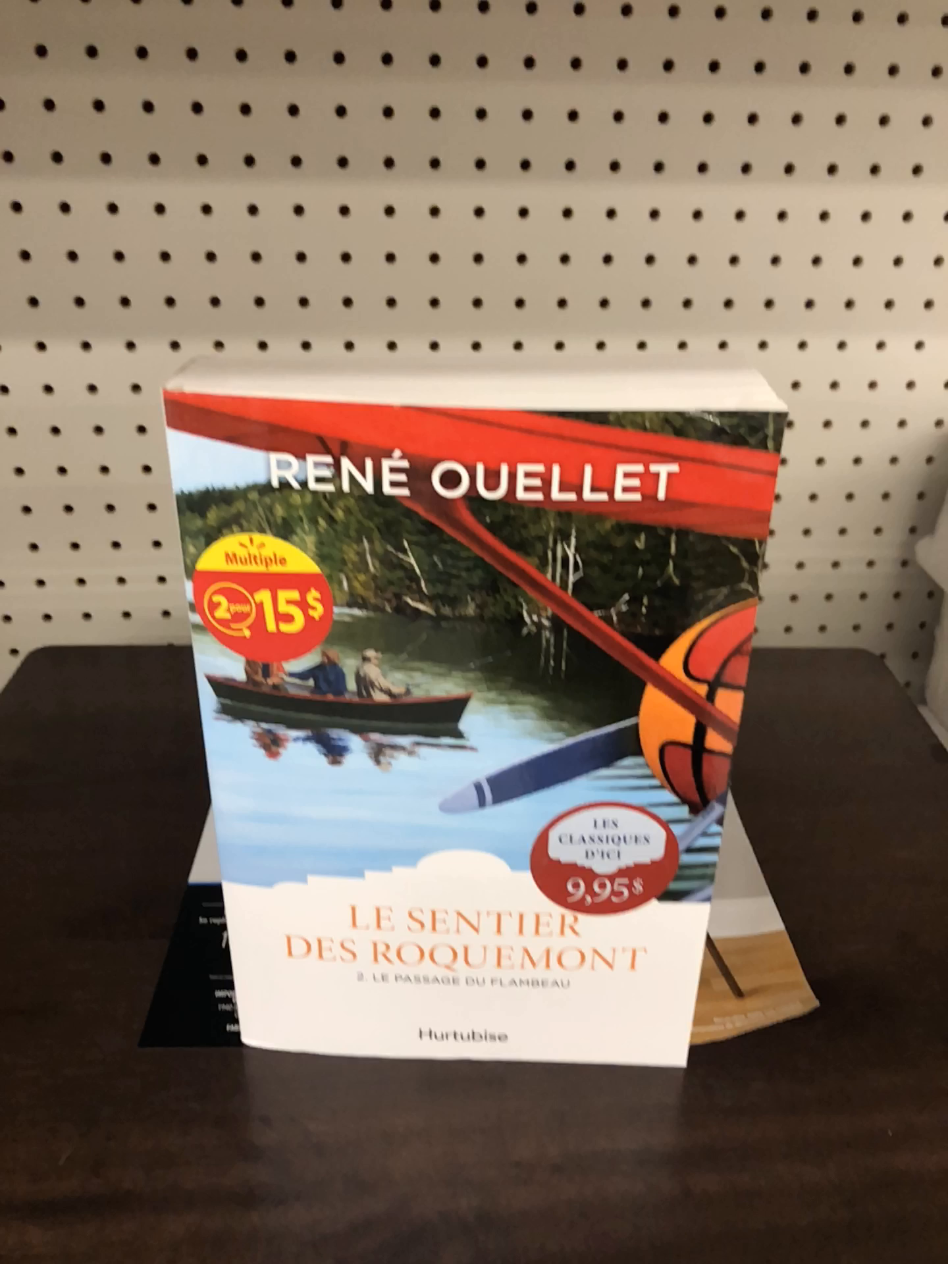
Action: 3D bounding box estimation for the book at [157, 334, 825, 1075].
[{"bbox_3d":[0.001,0.029,0.317,0.153,0.215,0.065,2,27,0],"label":"book"}]
